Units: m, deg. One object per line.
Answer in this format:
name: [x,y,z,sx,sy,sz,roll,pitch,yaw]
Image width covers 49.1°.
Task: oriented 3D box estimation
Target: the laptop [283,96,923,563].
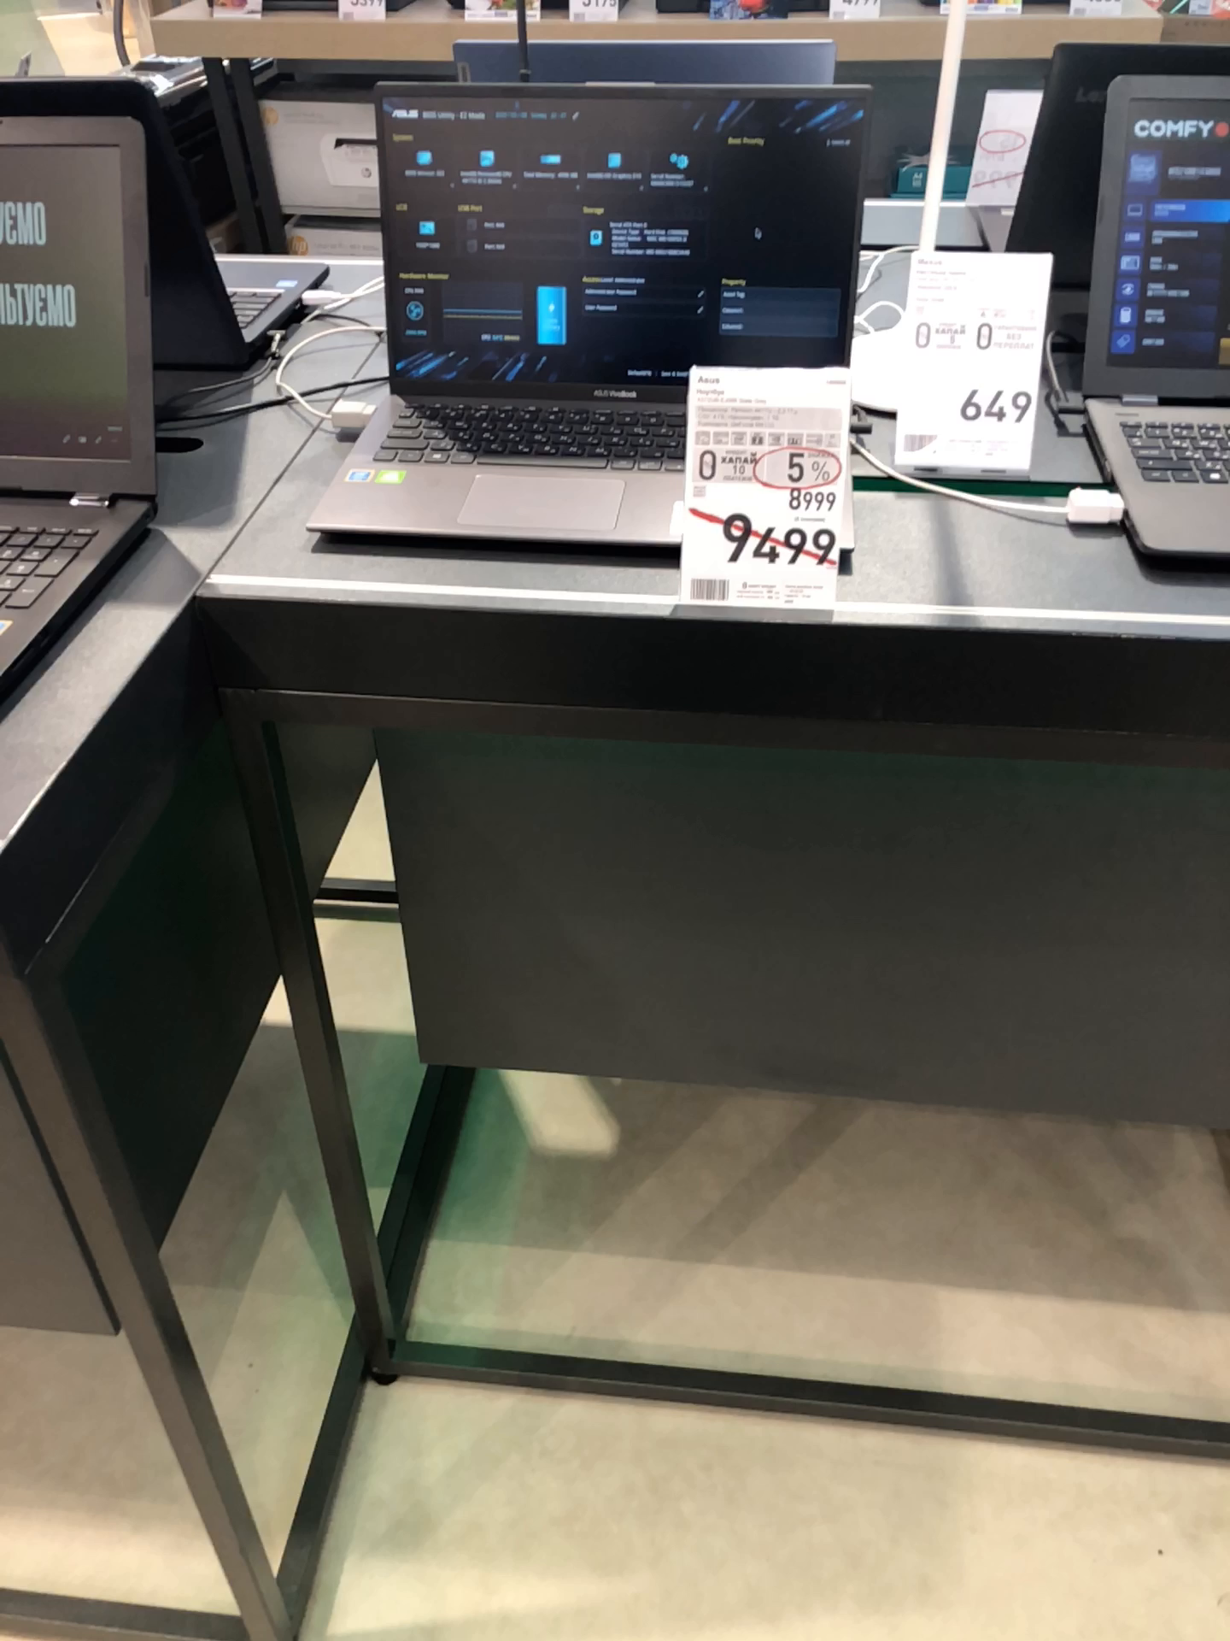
laptop: [0.006,-0.341,0.905,0.355,0.200,0.288,4,39,8]
